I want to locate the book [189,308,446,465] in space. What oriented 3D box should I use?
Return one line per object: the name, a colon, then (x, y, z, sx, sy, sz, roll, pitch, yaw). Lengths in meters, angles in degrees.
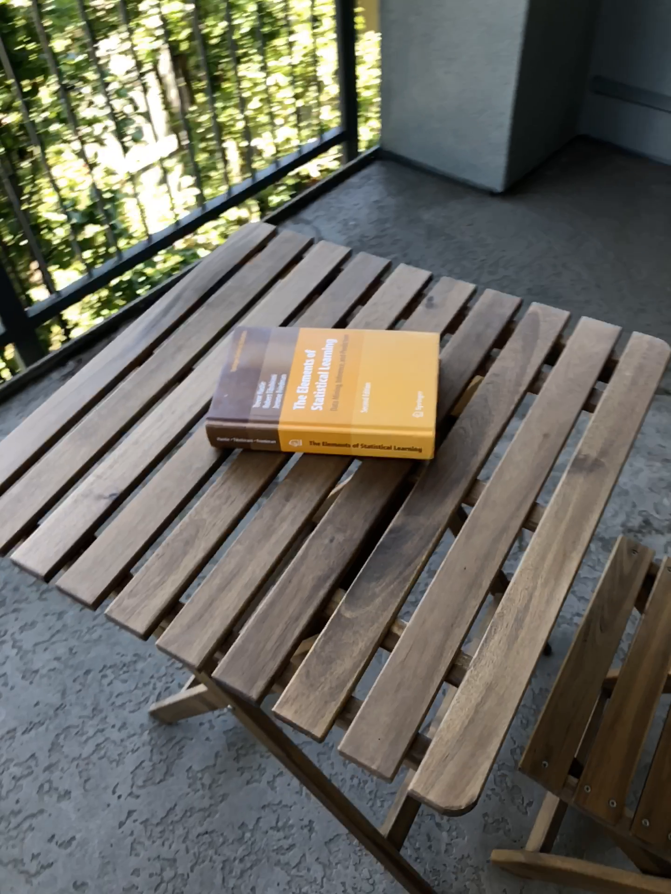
book: (-0.011, -0.072, 0.809, 0.250, 0.040, 0.181, 4, 50, 7)
